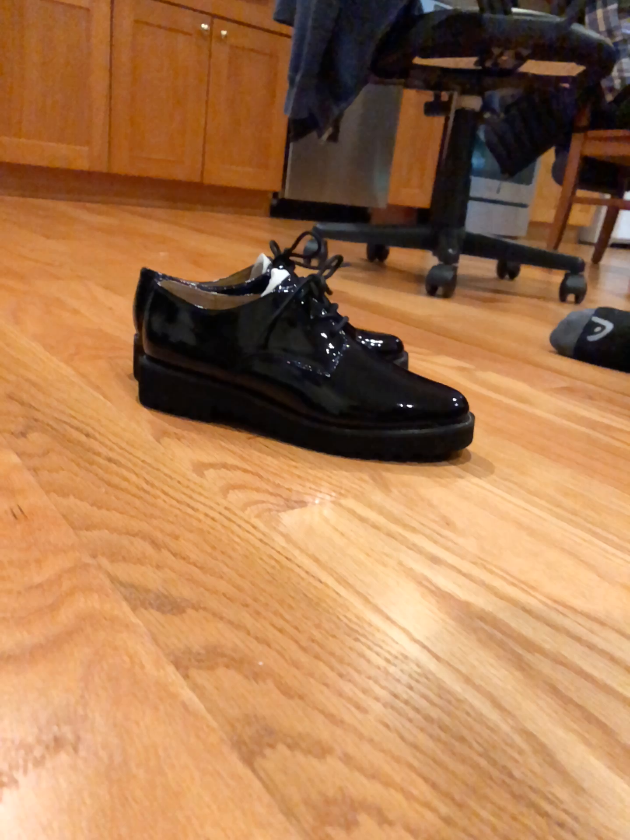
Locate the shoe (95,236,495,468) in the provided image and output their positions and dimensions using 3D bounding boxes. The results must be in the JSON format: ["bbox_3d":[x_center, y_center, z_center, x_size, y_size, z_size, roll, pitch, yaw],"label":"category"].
[{"bbox_3d":[-0.014,-0.056,0.480,0.251,0.102,0.095,11,20,12],"label":"shoe"}]

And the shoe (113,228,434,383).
[{"bbox_3d":[-0.041,-0.097,0.592,0.251,0.102,0.095,0,21,-17],"label":"shoe"}]
